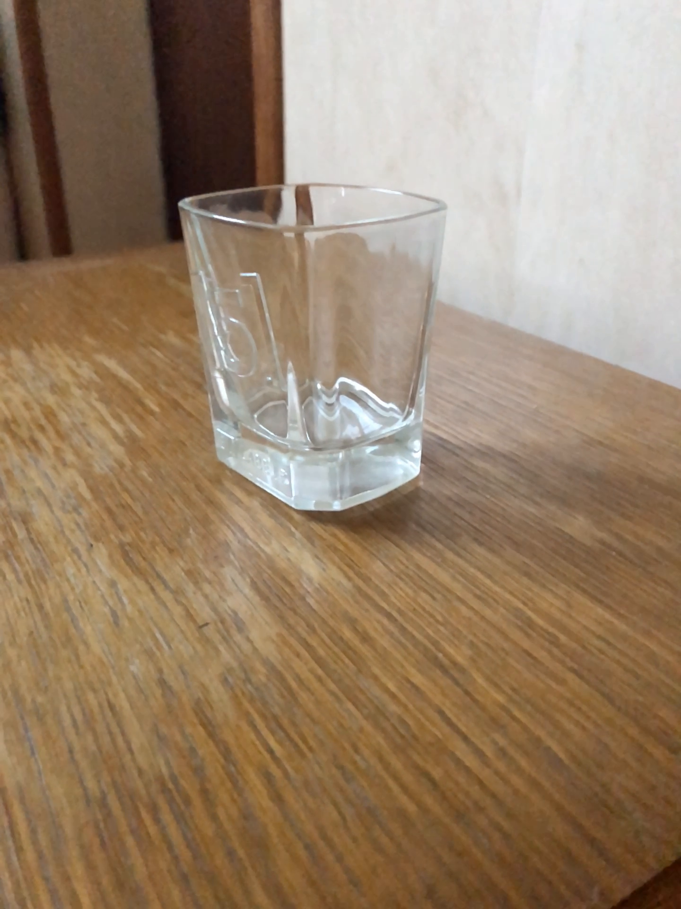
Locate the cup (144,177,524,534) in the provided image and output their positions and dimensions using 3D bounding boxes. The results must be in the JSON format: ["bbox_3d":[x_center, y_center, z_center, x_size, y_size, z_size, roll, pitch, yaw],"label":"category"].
[{"bbox_3d":[-0.003,-0.034,0.213,0.070,0.070,0.070,1,27,0],"label":"cup"}]
